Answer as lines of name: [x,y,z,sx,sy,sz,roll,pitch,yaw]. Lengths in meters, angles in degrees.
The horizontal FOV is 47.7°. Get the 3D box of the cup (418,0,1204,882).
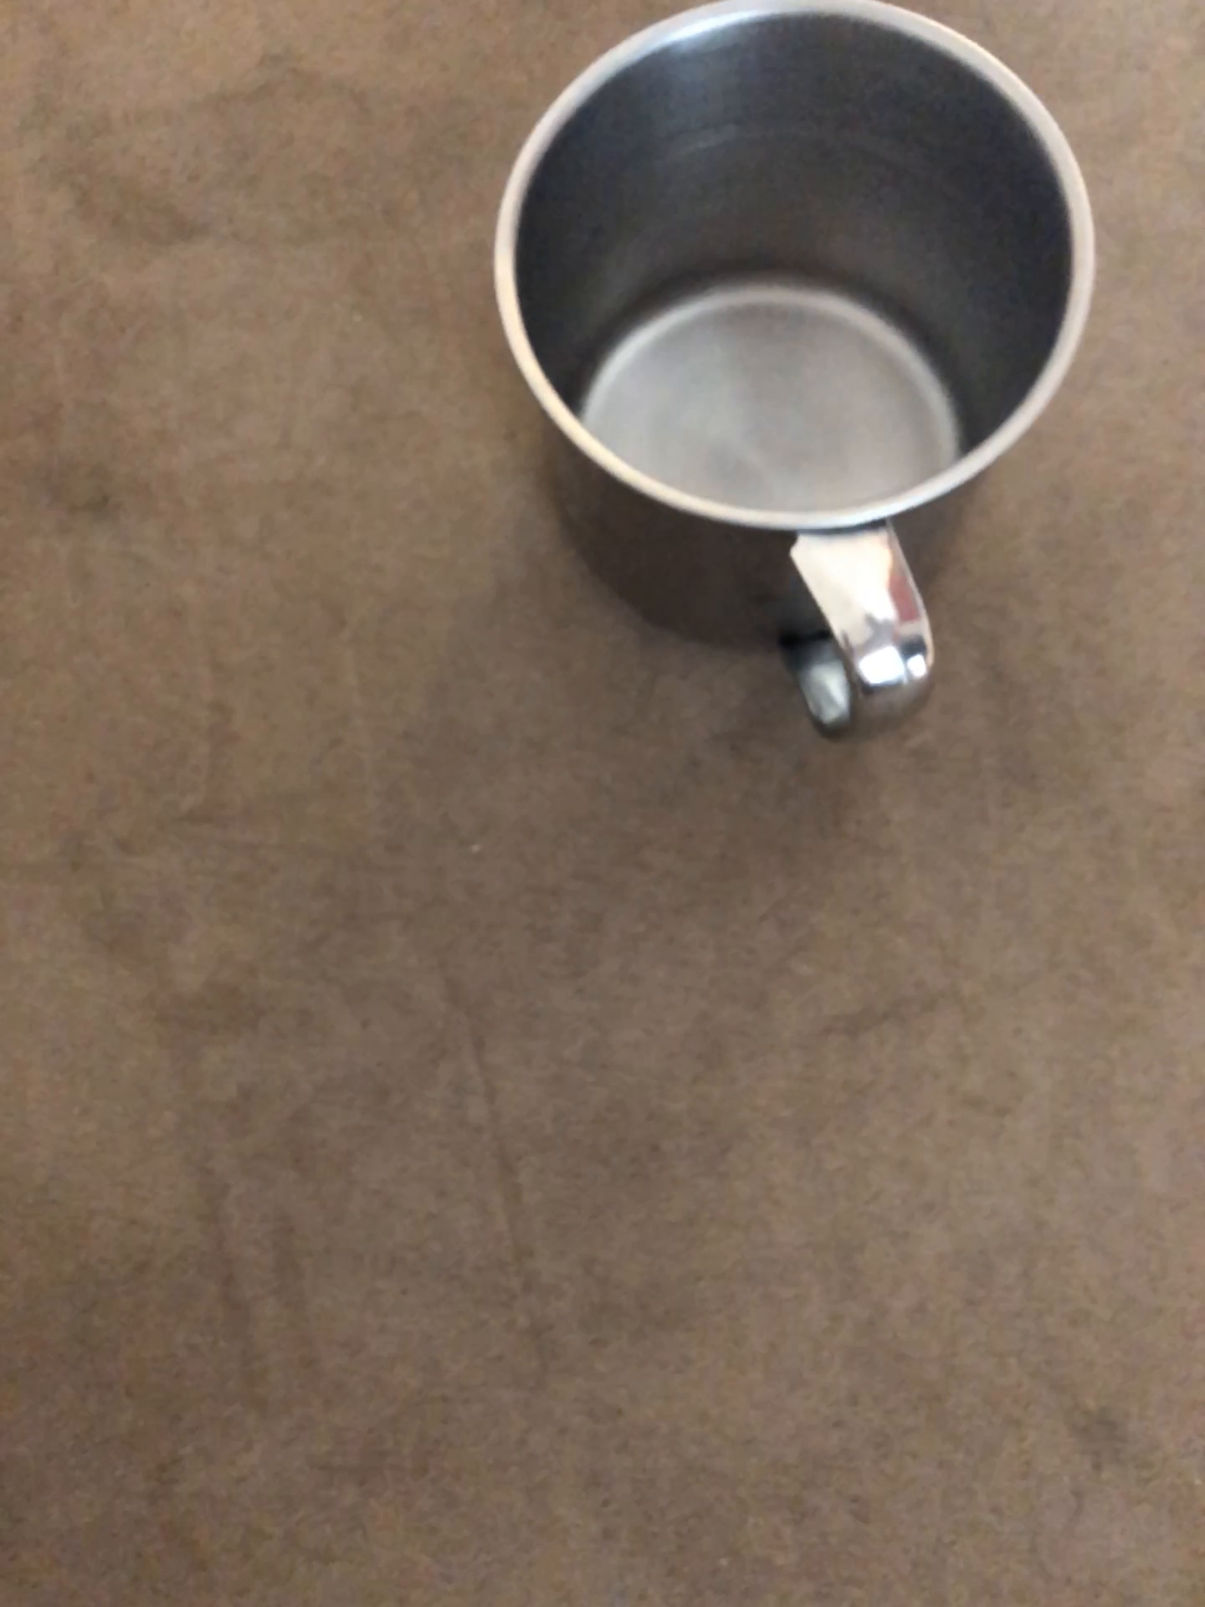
cup: [0.033,-0.057,0.220,0.090,0.070,0.110,-16,78,1]
